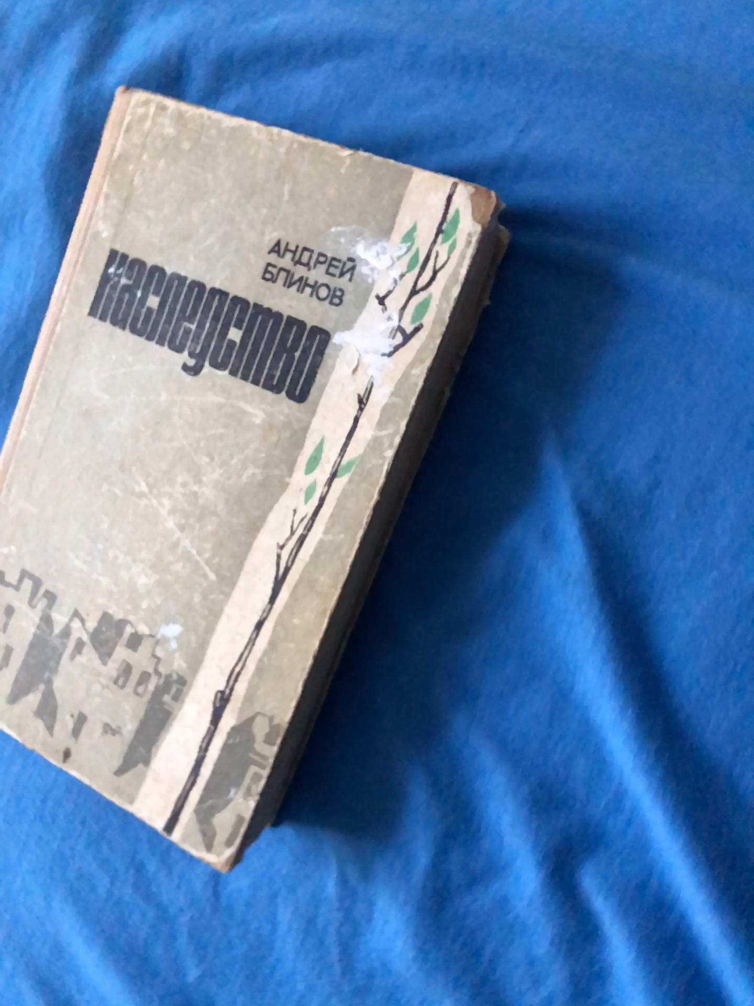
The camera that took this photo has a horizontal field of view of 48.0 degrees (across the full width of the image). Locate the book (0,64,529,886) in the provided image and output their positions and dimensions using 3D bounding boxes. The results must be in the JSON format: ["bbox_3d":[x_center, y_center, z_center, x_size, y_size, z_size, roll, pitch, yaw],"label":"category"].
[{"bbox_3d":[-0.056,-0.011,0.261,0.130,0.040,0.200,25,96,16],"label":"book"}]
